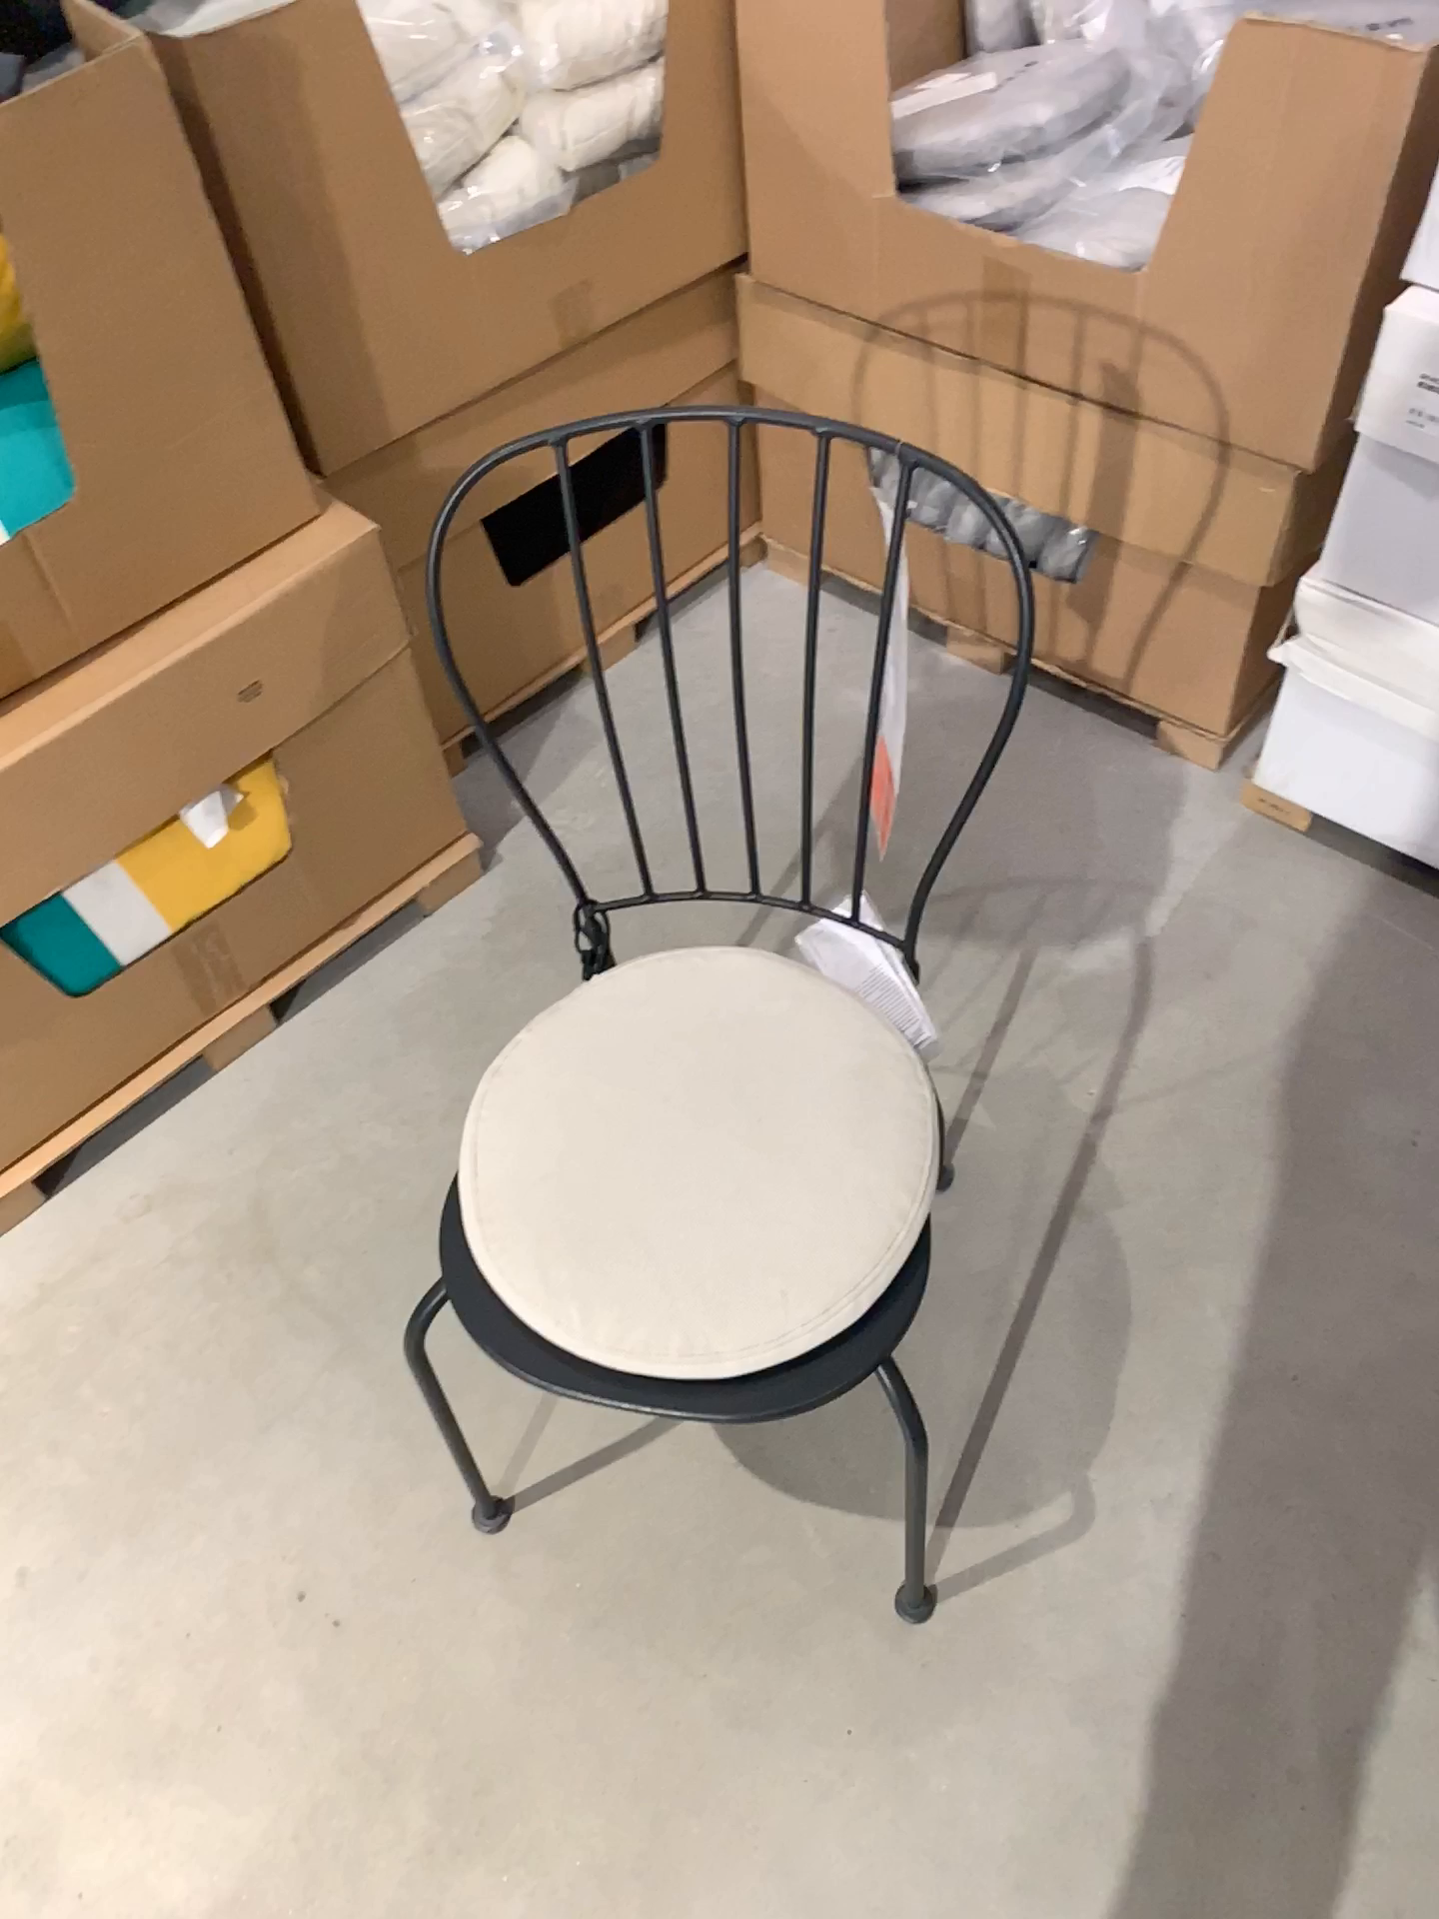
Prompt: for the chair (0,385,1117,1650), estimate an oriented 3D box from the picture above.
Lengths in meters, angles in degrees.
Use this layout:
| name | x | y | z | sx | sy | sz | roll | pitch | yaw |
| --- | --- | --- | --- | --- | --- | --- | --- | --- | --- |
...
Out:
| name | x | y | z | sx | sy | sz | roll | pitch | yaw |
| --- | --- | --- | --- | --- | --- | --- | --- | --- | --- |
| chair | -0.018 | 0.095 | 1.117 | 0.480 | 0.818 | 0.521 | 8 | 53 | 12 |
